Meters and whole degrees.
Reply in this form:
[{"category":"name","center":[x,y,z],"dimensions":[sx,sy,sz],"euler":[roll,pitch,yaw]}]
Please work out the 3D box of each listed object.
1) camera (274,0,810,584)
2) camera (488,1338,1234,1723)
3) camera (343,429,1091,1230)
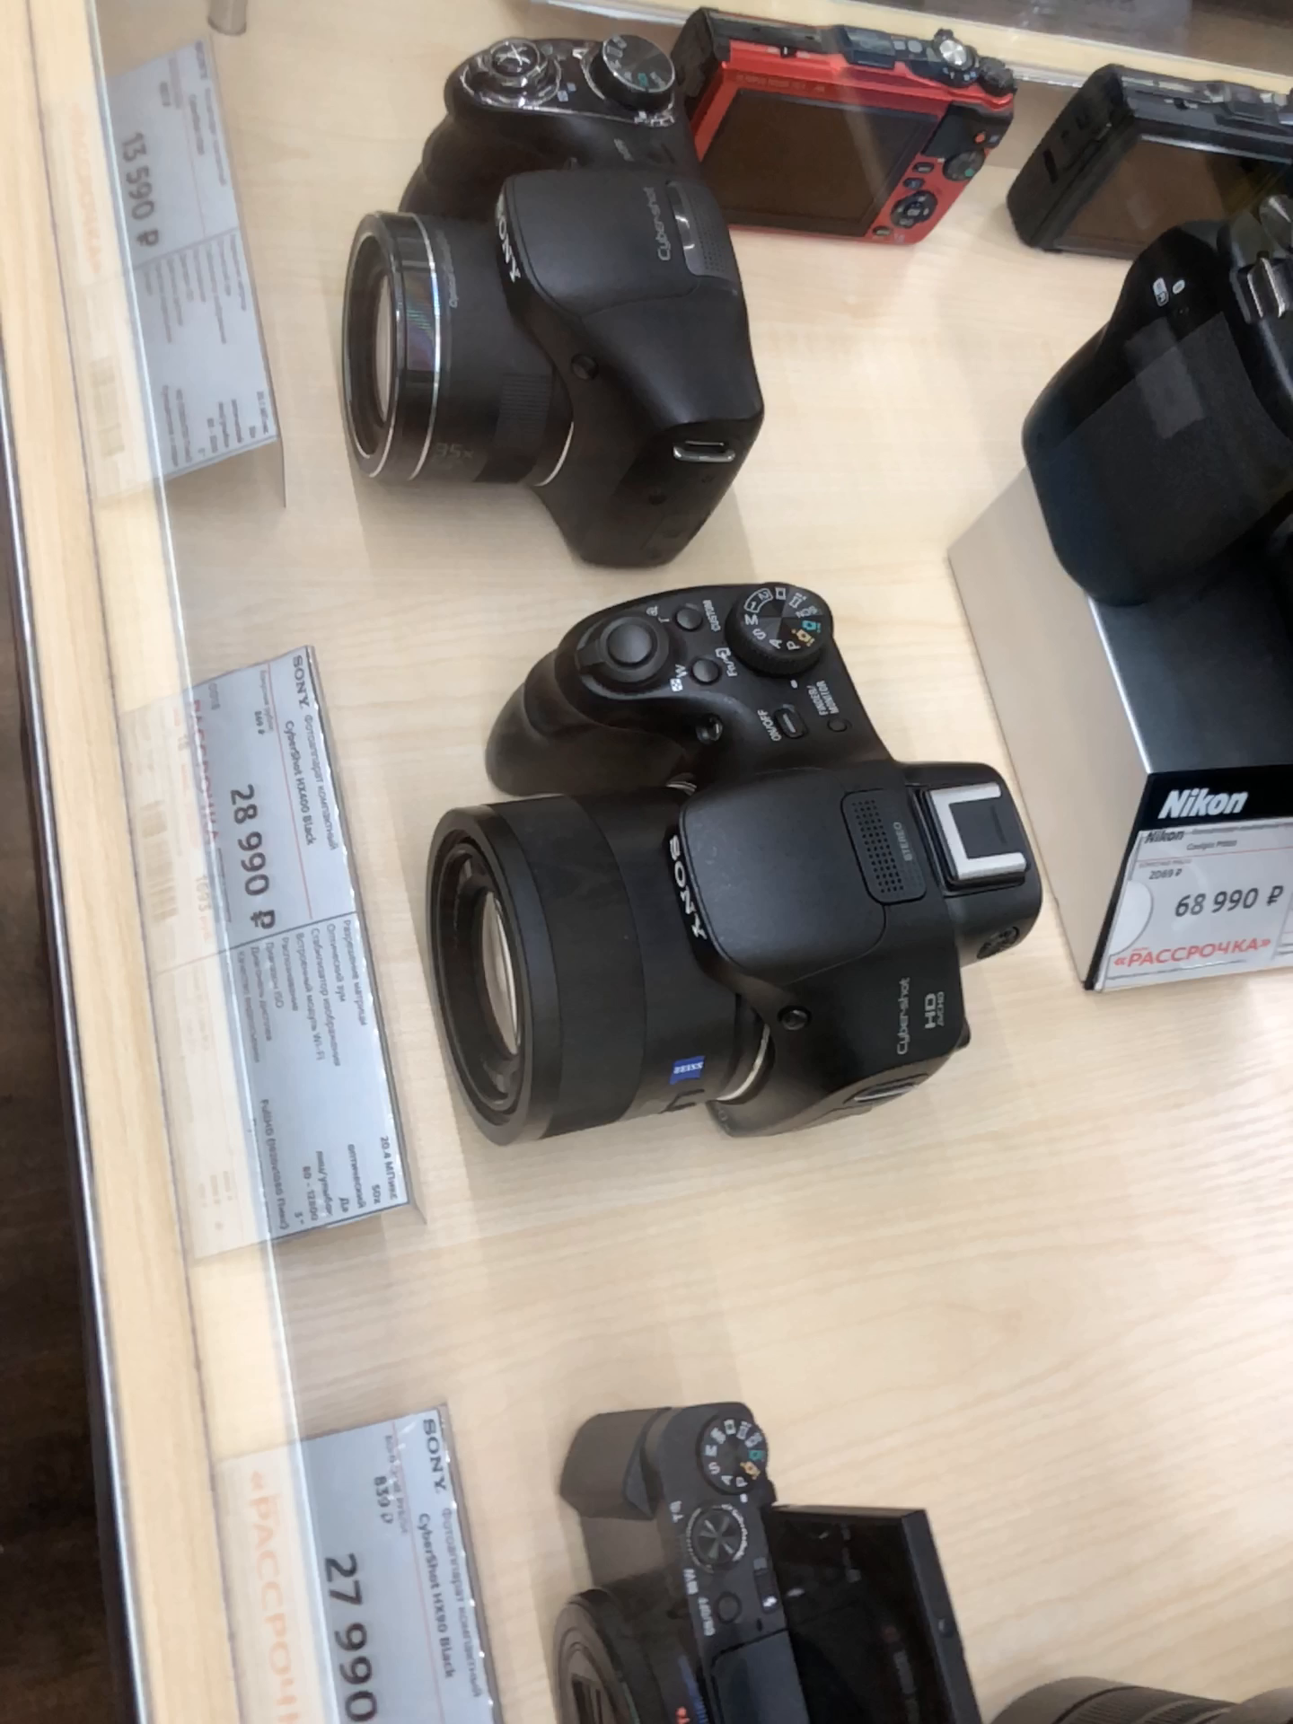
[{"category":"camera","center":[-0.032,-0.144,0.363],"dimensions":[0.096,0.073,0.122],"euler":[-6,71,-23]},{"category":"camera","center":[0.024,0.162,0.259],"dimensions":[0.056,0.113,0.125],"euler":[-6,71,-23]},{"category":"camera","center":[0.005,-0.007,0.305],"dimensions":[0.104,0.086,0.137],"euler":[-6,71,-23]}]
